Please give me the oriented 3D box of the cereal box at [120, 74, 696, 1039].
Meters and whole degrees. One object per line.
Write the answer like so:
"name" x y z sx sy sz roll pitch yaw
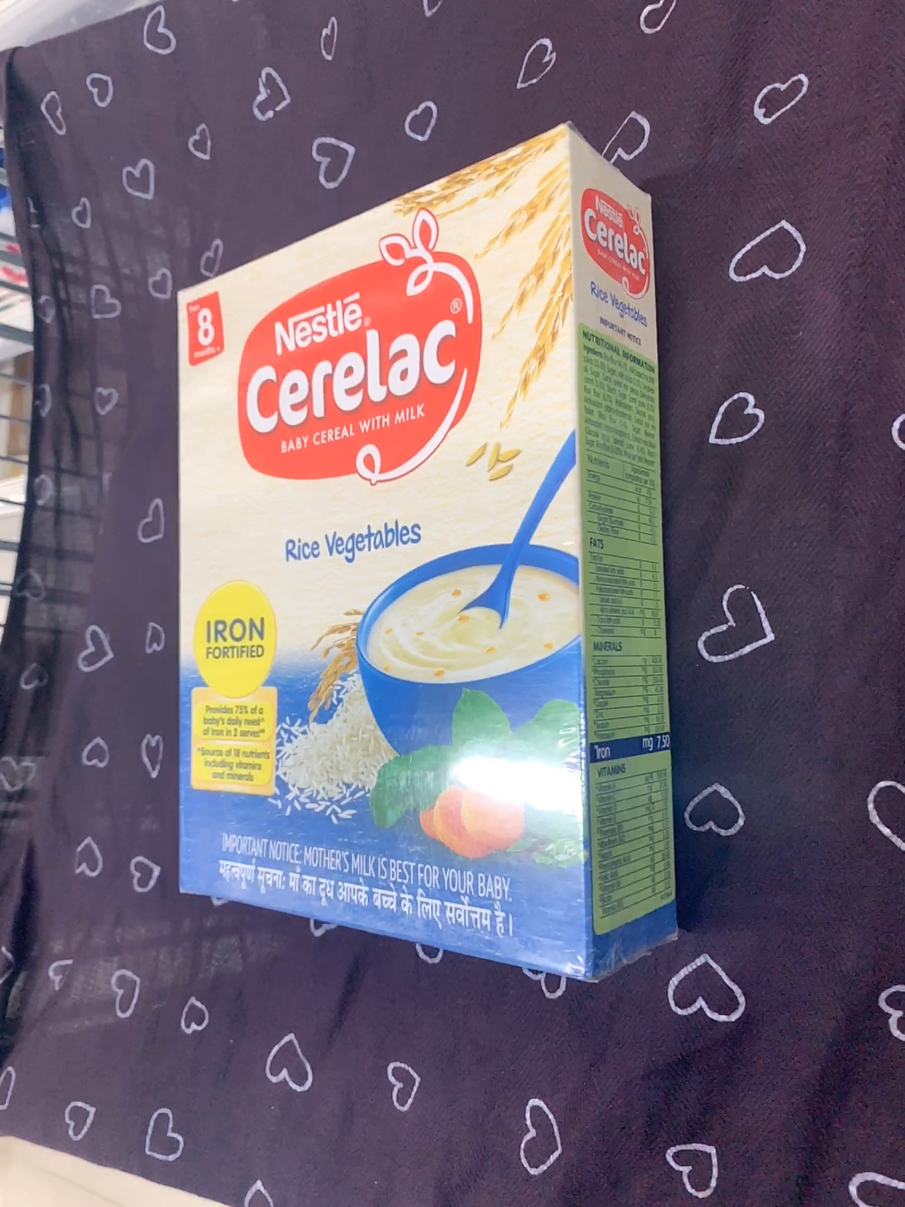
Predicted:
"cereal box" -0.021 -0.007 0.249 0.151 0.050 0.190 -5 83 38
